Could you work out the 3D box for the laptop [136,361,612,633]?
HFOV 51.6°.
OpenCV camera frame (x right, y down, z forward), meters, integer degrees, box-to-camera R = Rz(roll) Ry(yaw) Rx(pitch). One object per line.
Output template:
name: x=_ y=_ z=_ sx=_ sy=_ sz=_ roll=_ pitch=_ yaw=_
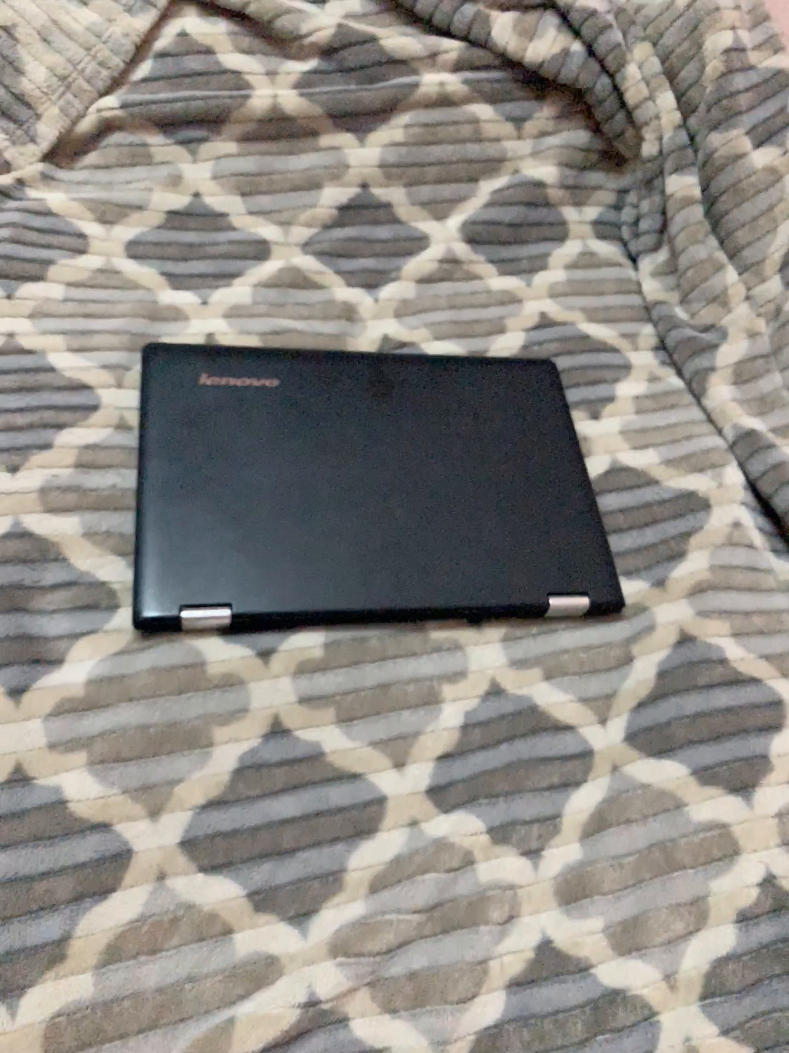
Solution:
laptop: x=-0.015 y=-0.032 z=0.624 sx=0.339 sy=0.003 sz=0.228 roll=0 pitch=60 yaw=-13
